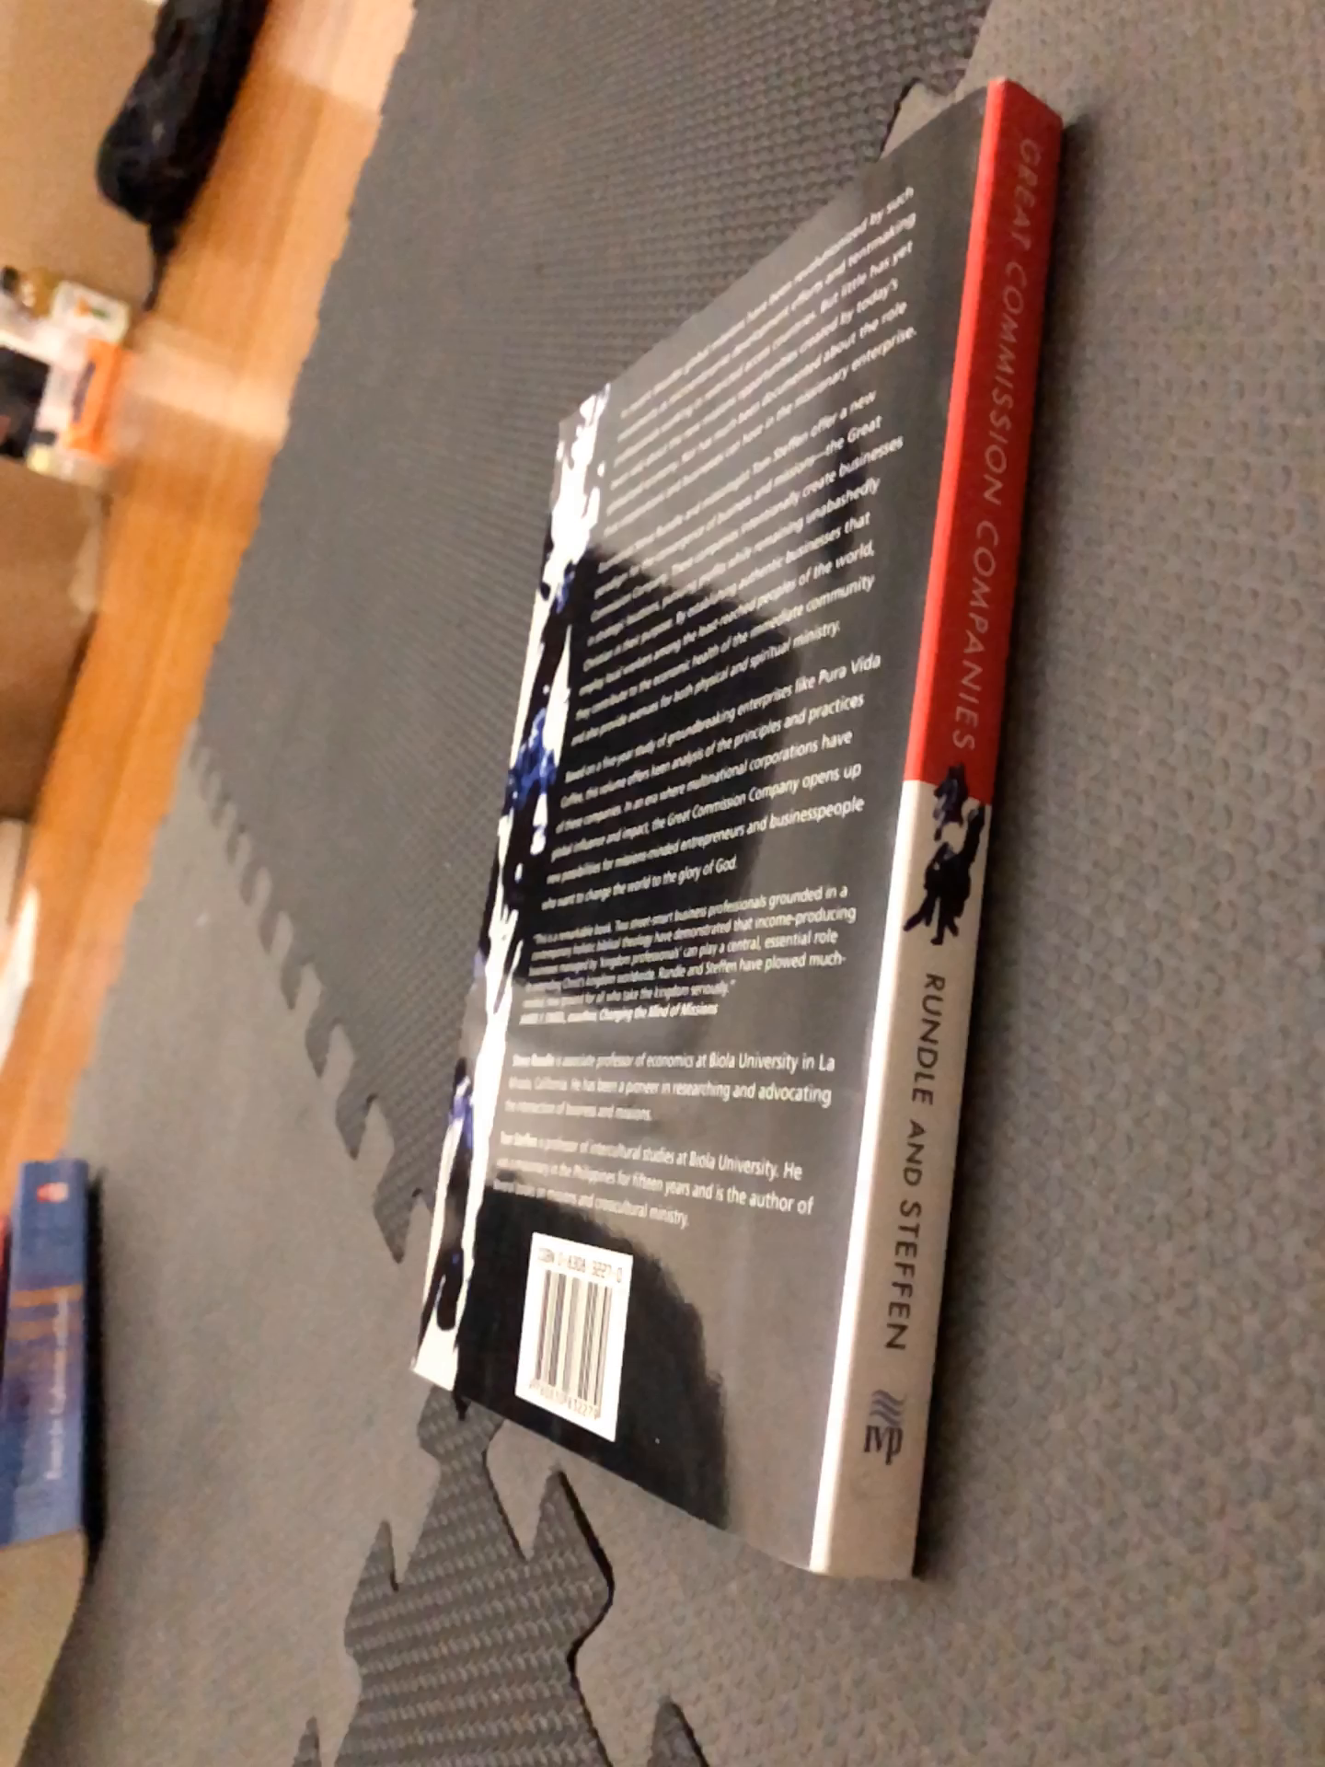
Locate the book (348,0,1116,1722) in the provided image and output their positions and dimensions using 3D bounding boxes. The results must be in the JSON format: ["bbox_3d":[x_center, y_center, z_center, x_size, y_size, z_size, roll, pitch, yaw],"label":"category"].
[{"bbox_3d":[0.003,-0.011,0.251,0.151,0.020,0.230,-13,64,60],"label":"book"}]

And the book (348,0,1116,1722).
[{"bbox_3d":[0.003,-0.011,0.251,0.151,0.020,0.230,-13,64,60],"label":"book"}]
